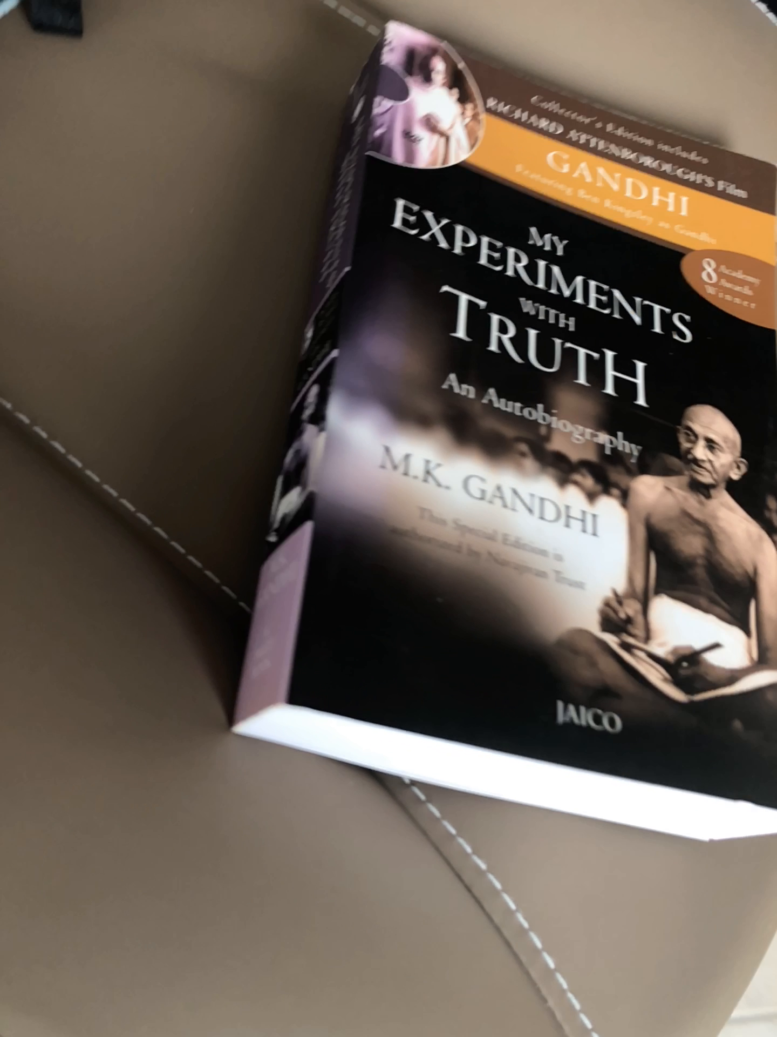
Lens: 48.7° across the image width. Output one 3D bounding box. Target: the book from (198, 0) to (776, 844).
[{"bbox_3d":[0.049,-0.045,0.251,0.150,0.050,0.241,17,61,-18],"label":"book"}]
